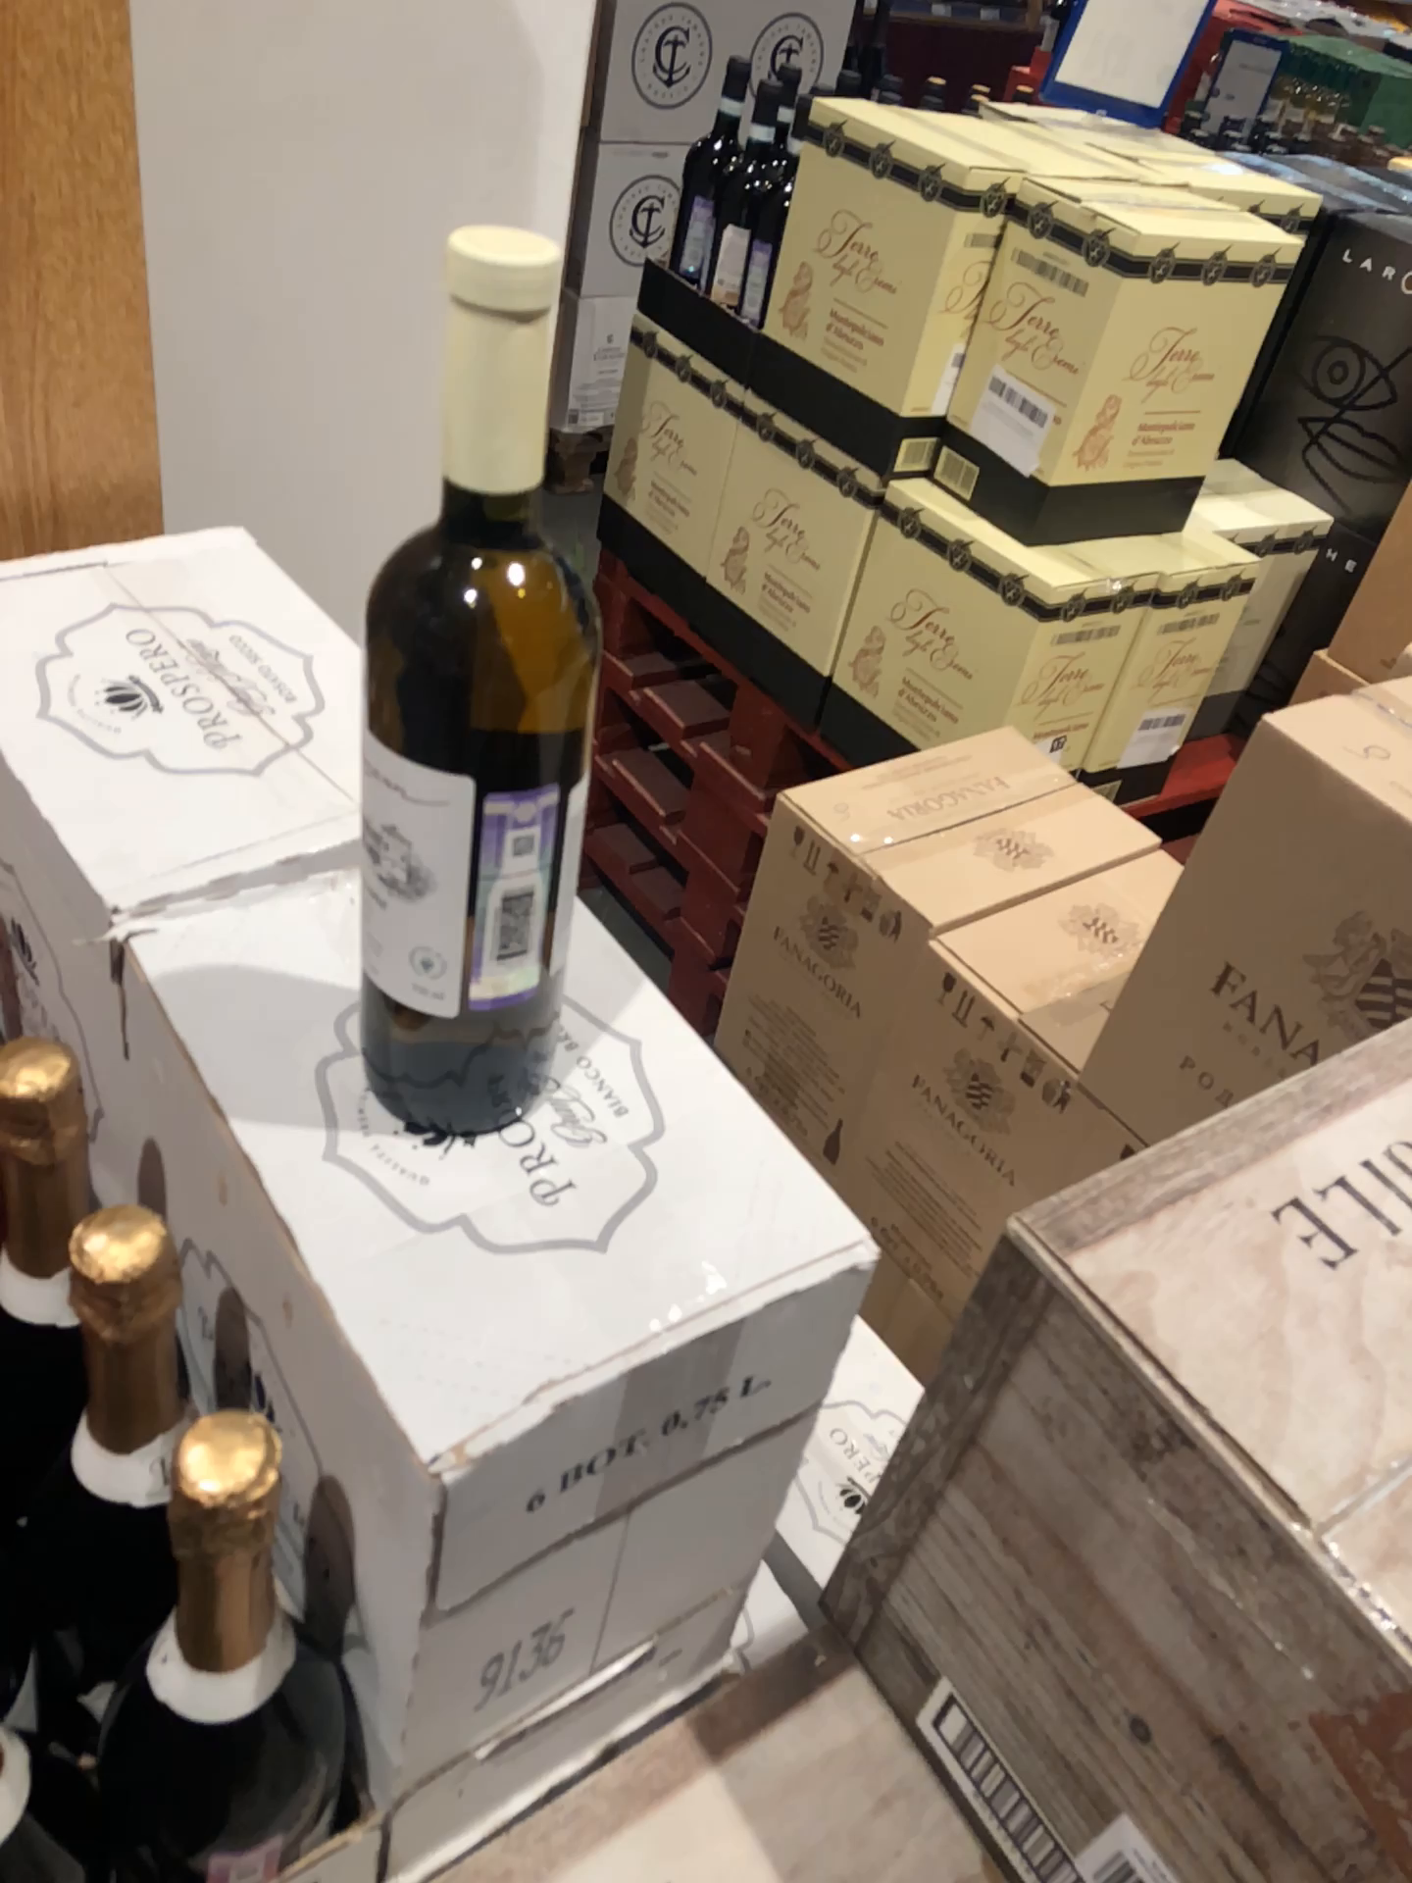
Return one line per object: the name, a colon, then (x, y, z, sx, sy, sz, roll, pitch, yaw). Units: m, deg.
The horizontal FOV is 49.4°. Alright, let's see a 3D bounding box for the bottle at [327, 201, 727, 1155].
bottle: (-0.070, -0.065, 0.486, 0.073, 0.288, 0.080, -7, 43, -24)
